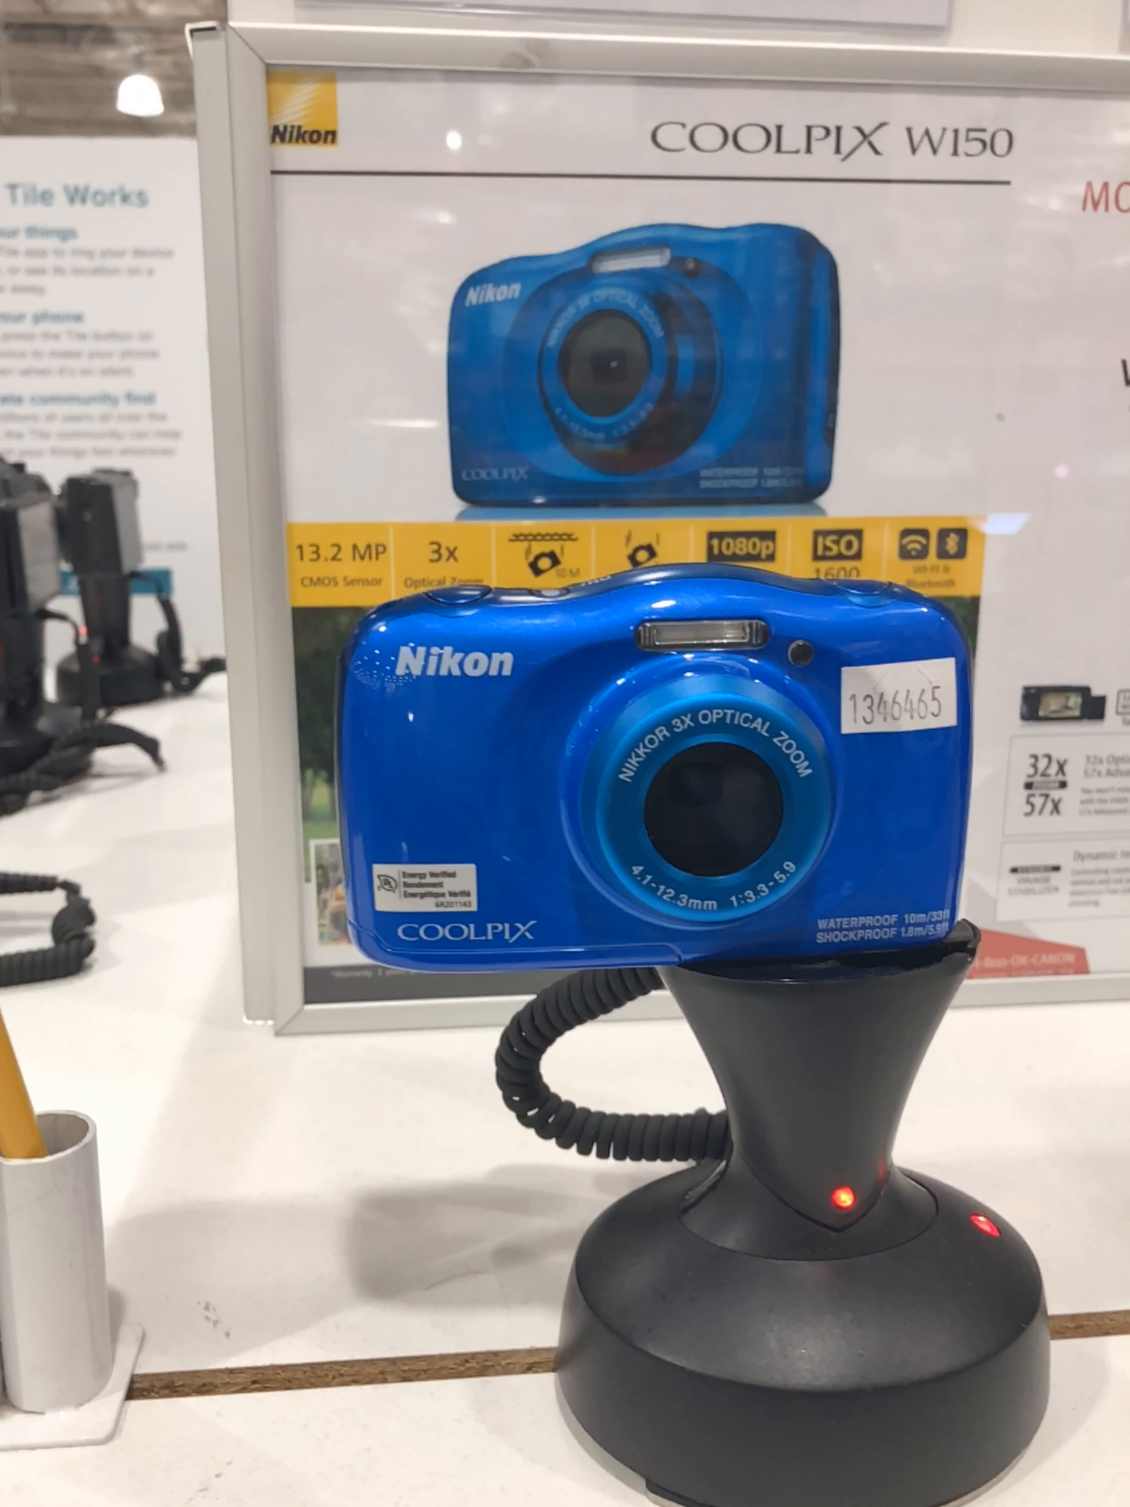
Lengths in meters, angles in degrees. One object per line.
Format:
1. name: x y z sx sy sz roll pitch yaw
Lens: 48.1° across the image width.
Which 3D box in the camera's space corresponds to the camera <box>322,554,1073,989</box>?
1. camera: 0.018 -0.001 0.207 0.110 0.060 0.040 -1 13 -8
